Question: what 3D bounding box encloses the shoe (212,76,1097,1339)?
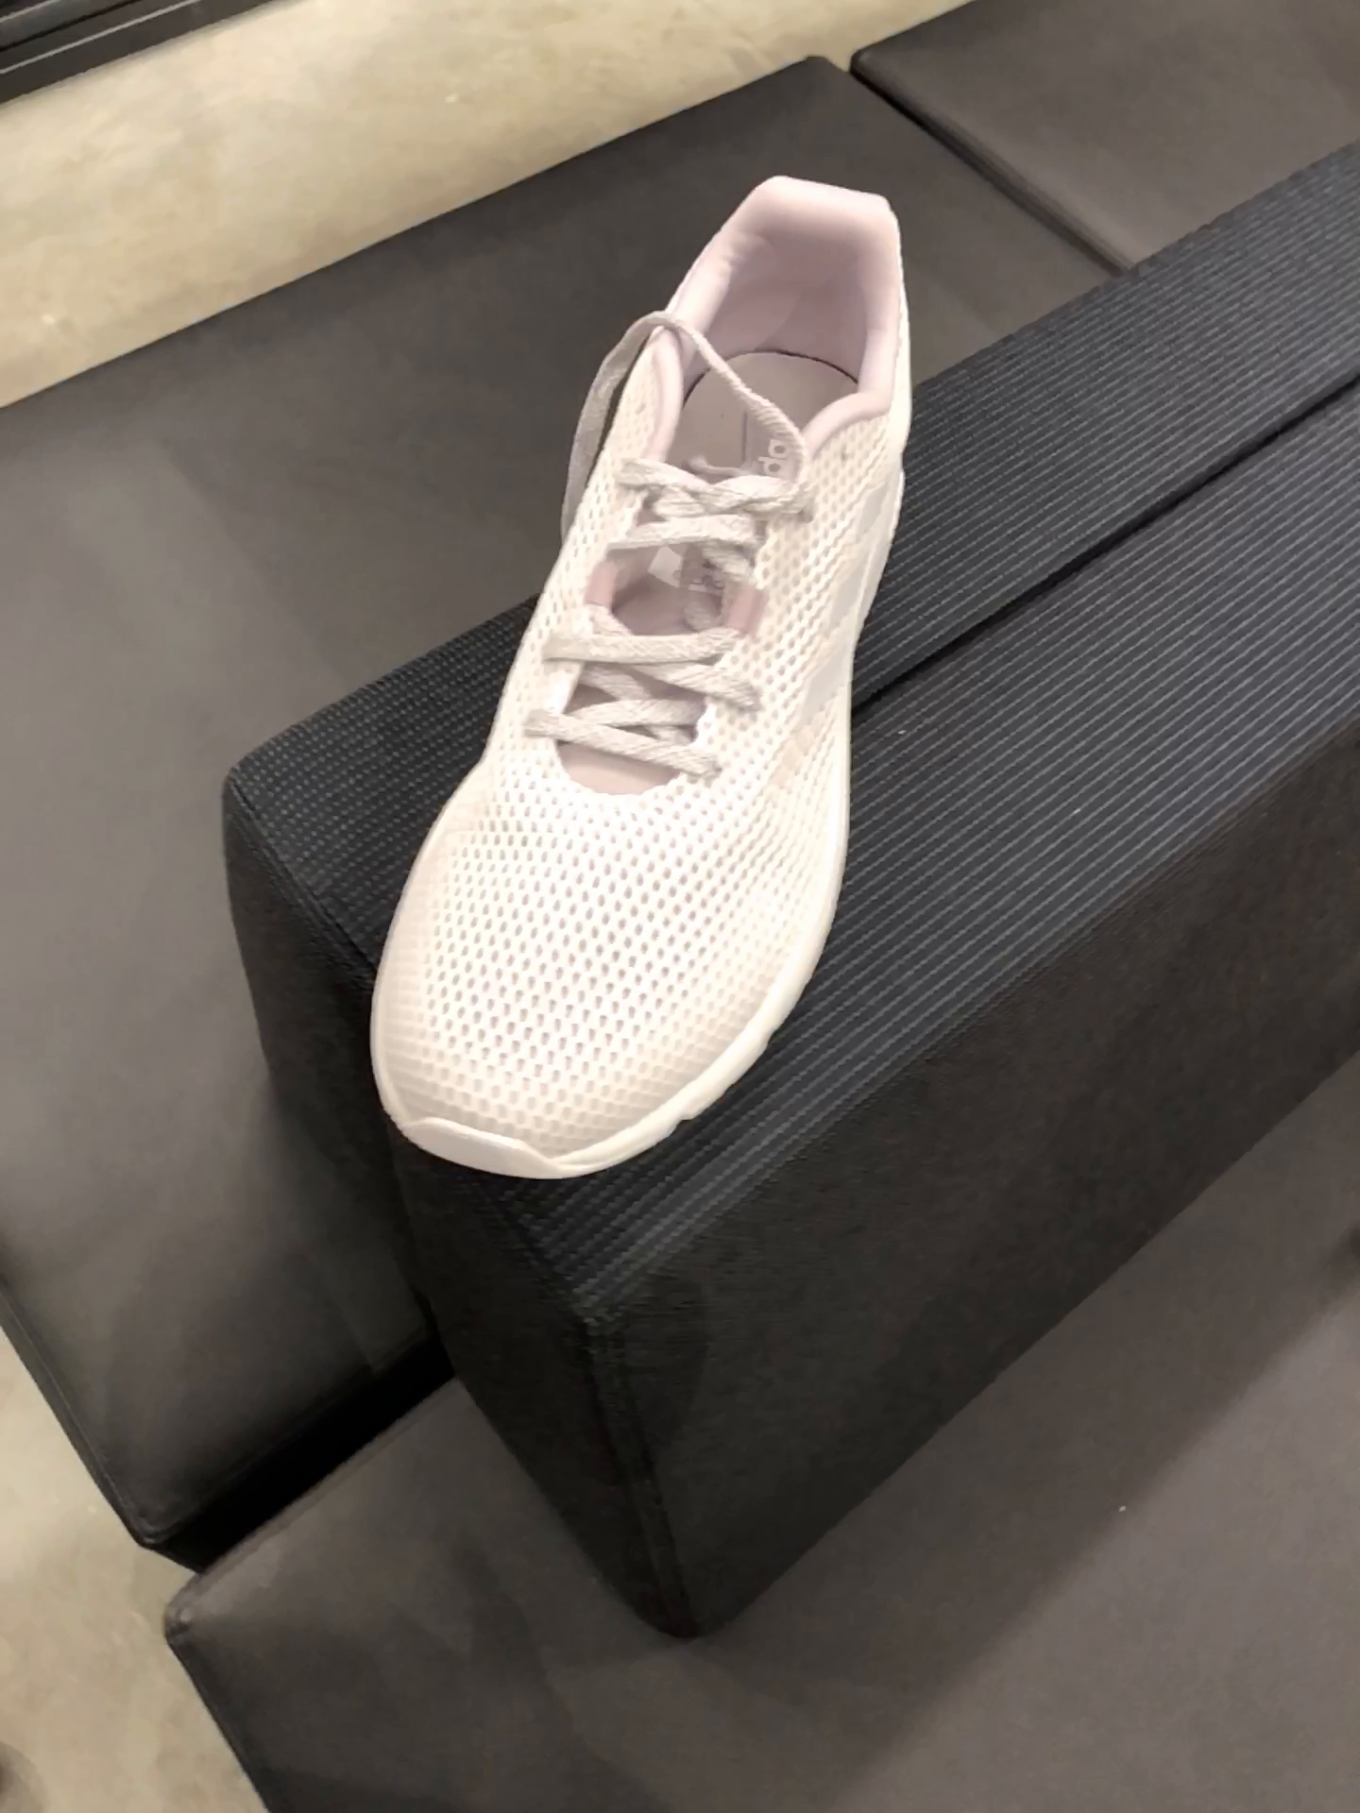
[{"bbox_3d":[0.008,-0.057,0.395,0.120,0.140,0.280,16,61,4],"label":"shoe"}]
